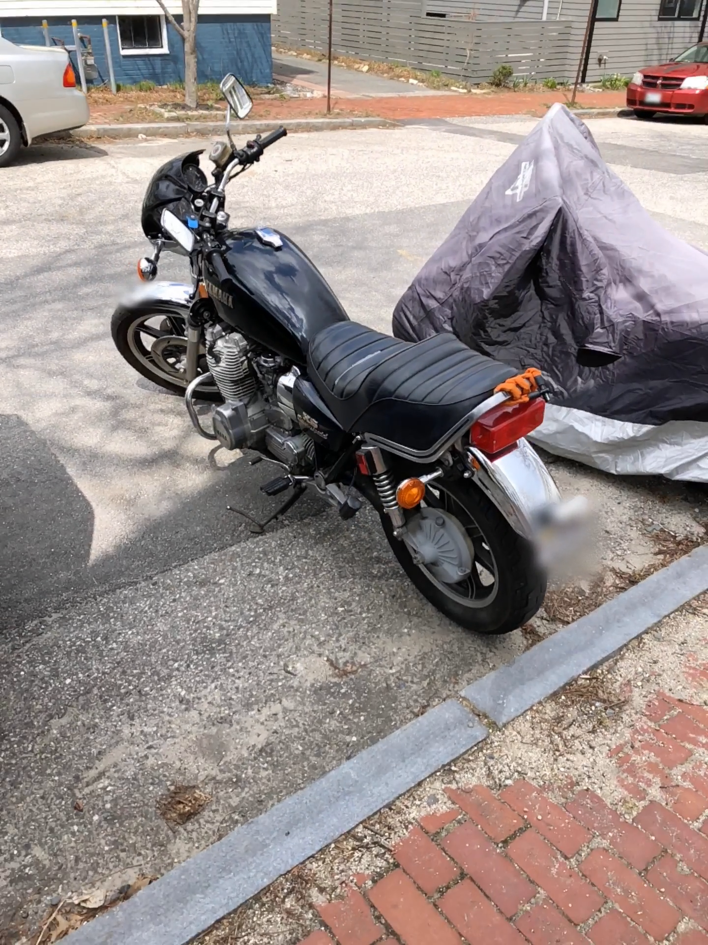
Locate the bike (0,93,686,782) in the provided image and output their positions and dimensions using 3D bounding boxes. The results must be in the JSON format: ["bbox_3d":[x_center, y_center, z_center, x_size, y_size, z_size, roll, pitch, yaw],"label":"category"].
[{"bbox_3d":[-0.304,-0.350,2.626,0.689,1.418,2.301,-25,41,-34],"label":"bike"}]
